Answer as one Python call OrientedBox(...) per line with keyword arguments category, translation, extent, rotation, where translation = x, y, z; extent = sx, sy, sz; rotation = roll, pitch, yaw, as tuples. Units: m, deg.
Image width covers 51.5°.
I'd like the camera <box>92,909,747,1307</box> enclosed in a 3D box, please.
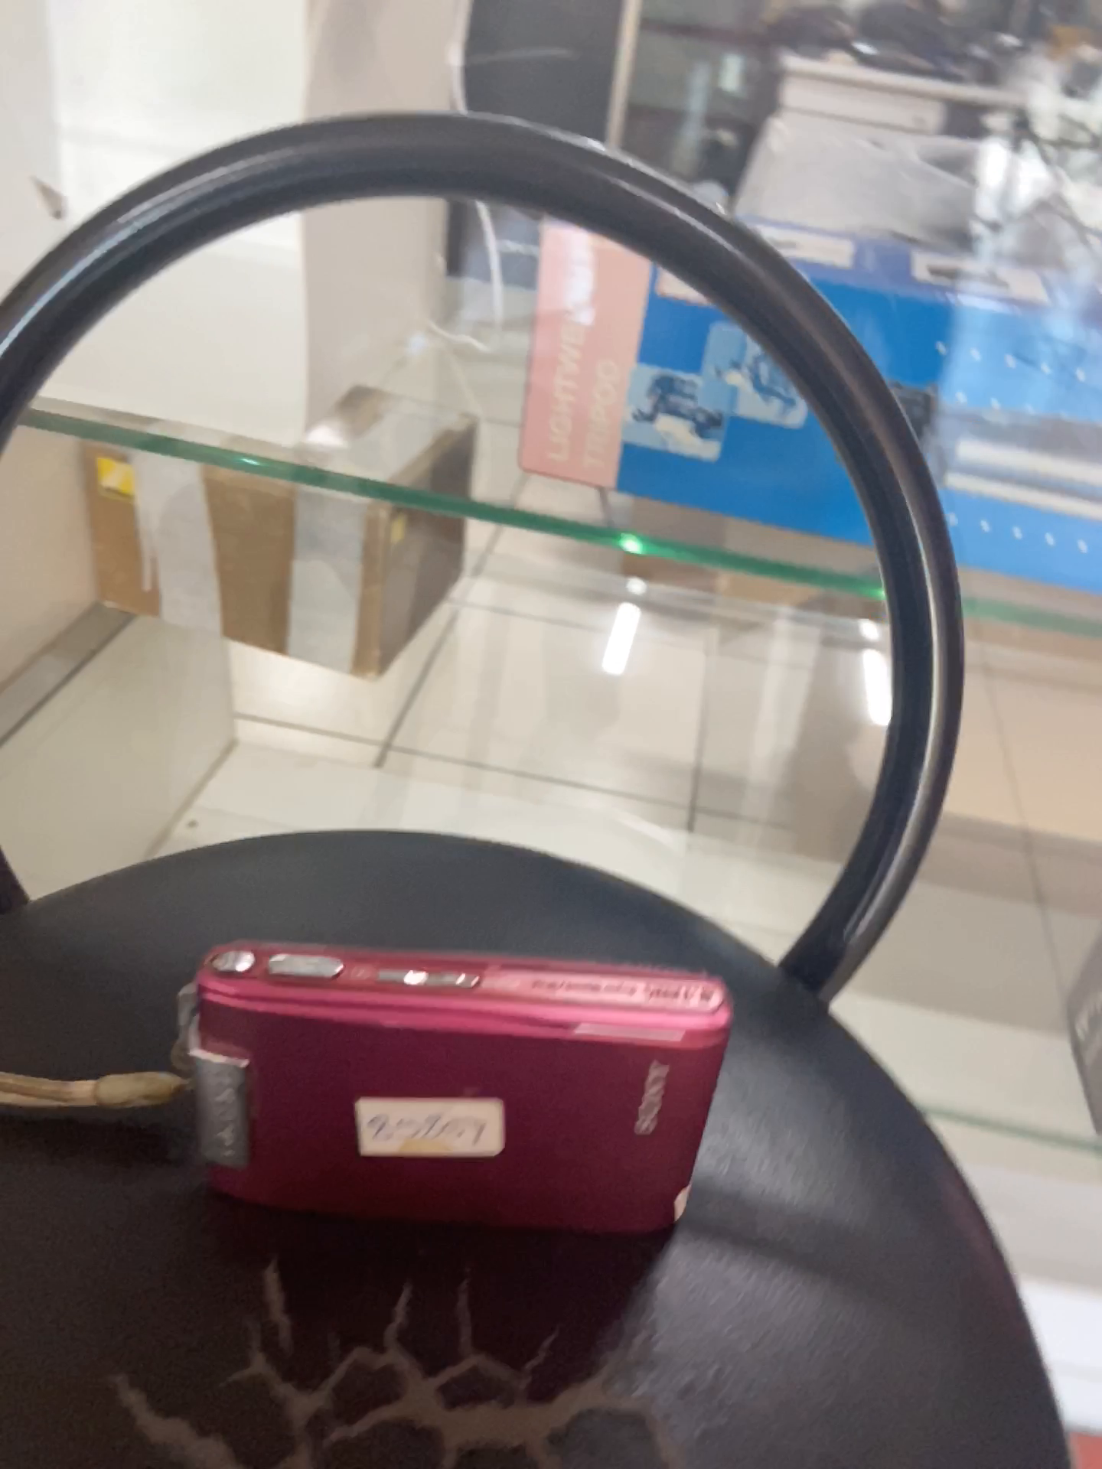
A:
OrientedBox(category="camera", translation=(-0.023, 0.068, 0.204), extent=(0.100, 0.060, 0.030), rotation=(6, 34, -4))
